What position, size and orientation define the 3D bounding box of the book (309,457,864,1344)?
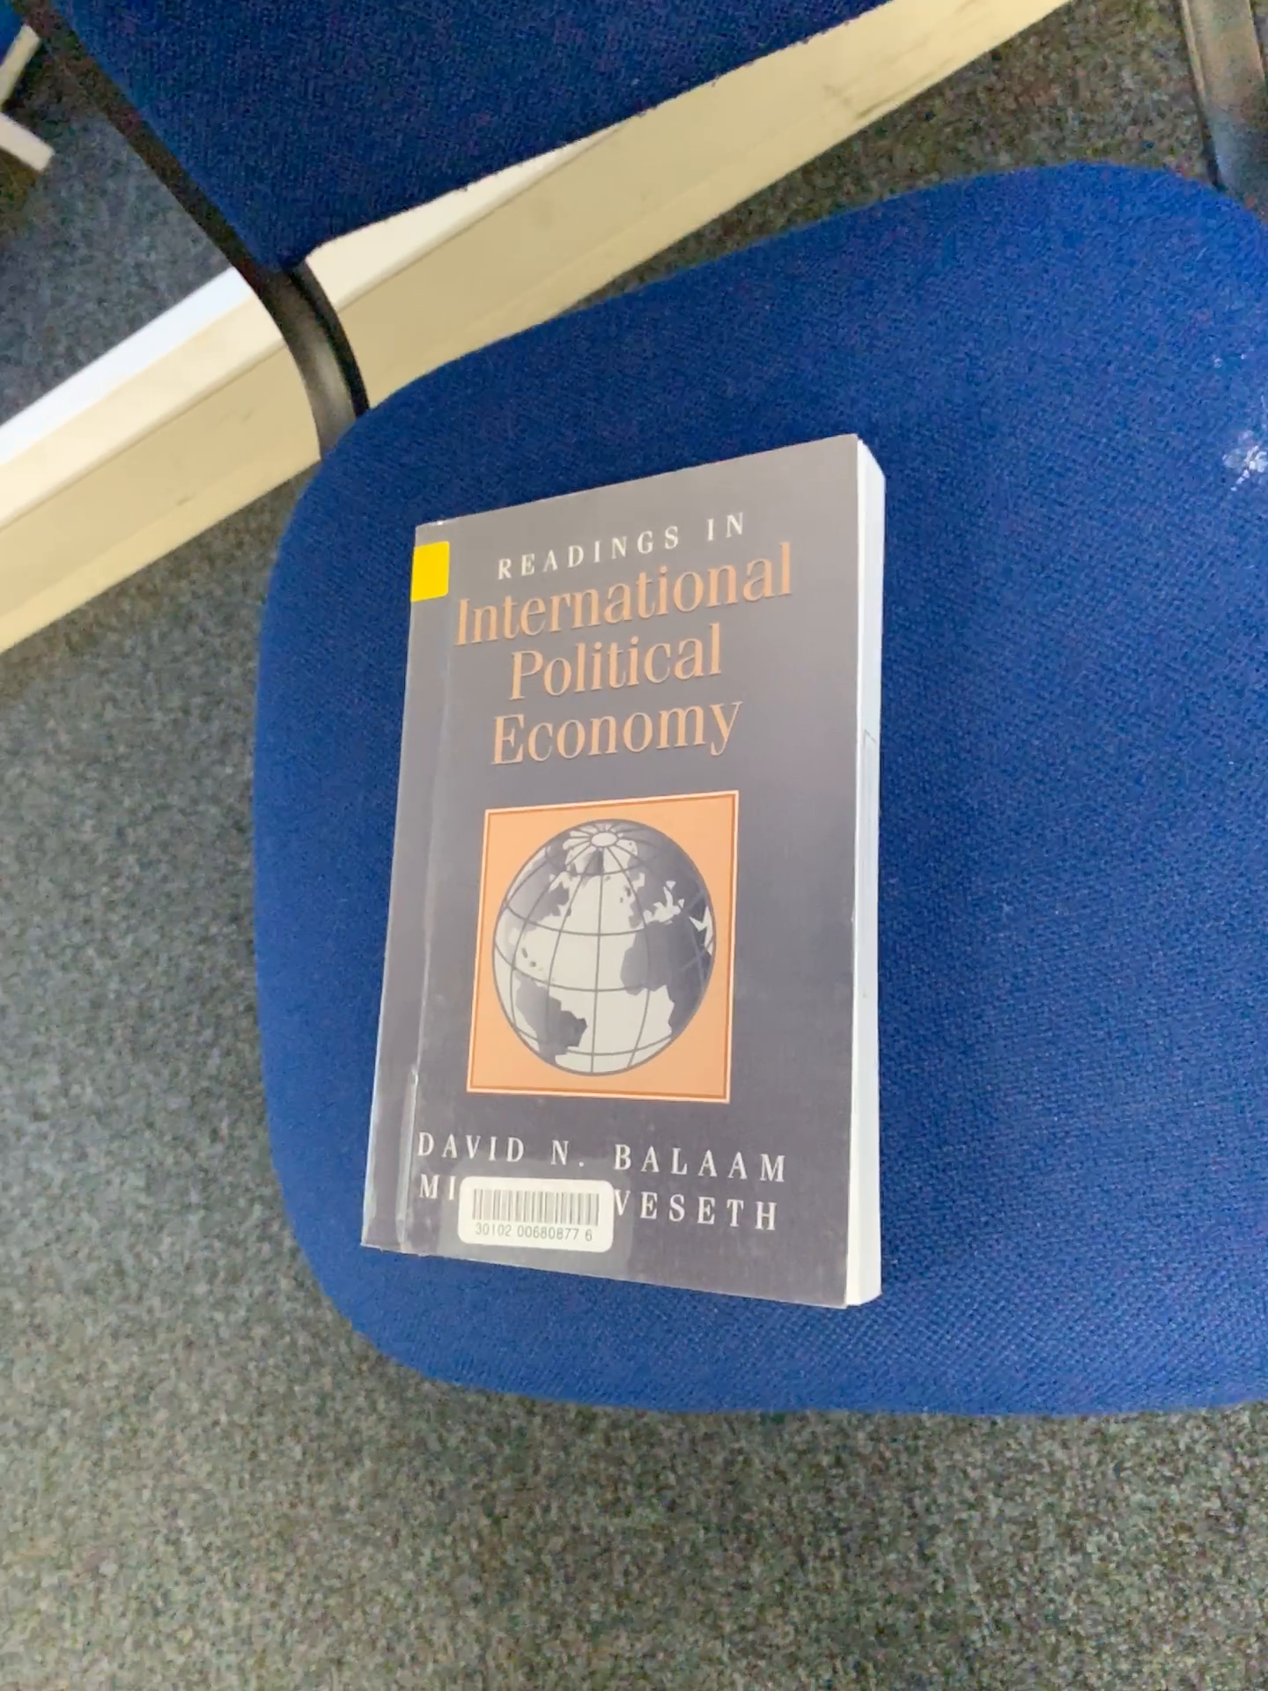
[{"bbox_3d":[-0.013,0.013,0.367,0.150,0.030,0.220,-4,77,27],"label":"book"}]
